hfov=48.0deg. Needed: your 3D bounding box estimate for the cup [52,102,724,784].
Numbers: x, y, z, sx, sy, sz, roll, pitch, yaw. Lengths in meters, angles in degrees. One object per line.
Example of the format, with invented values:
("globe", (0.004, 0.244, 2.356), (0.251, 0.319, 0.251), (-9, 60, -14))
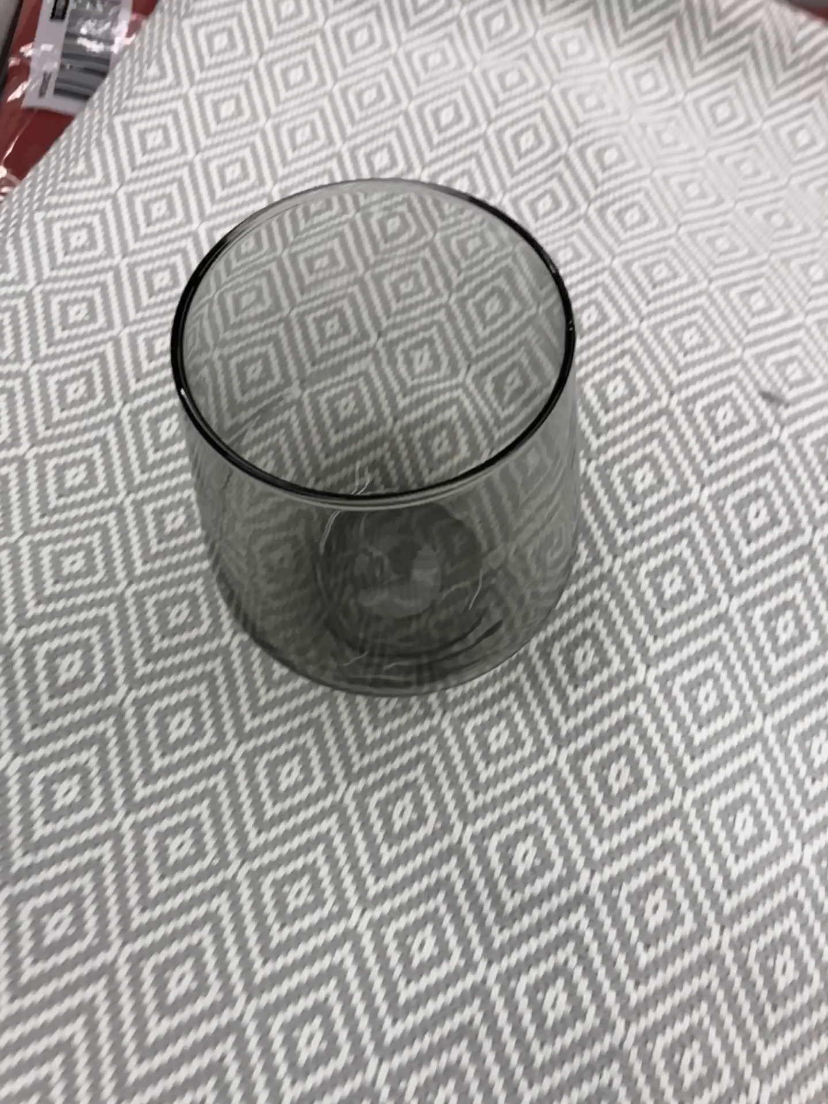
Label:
("cup", (-0.008, -0.017, 0.181), (0.080, 0.080, 0.080), (0, 63, -1))
